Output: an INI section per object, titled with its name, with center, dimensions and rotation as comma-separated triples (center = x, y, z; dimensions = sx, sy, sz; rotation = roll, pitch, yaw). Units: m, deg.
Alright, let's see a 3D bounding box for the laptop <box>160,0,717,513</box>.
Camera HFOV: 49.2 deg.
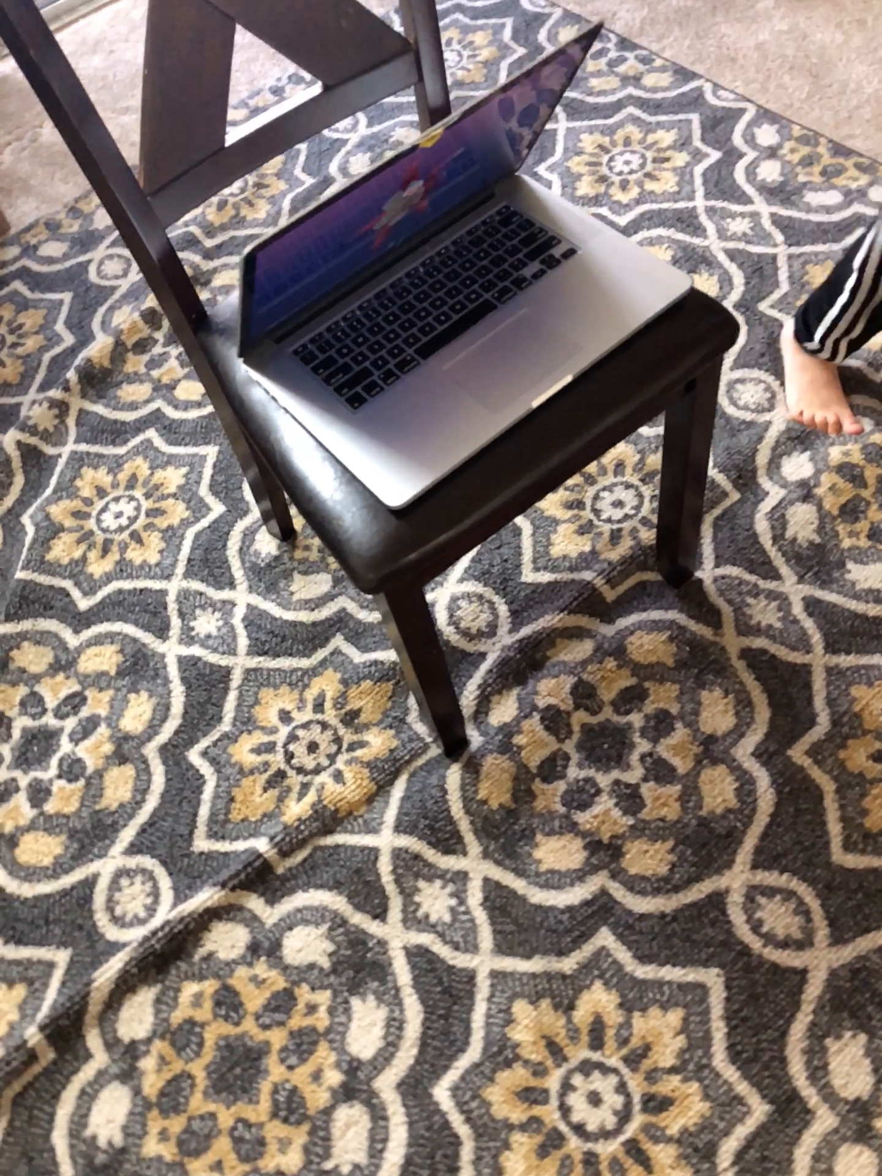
[laptop]
center = 0.007, -0.292, 0.801
dimensions = 0.351, 0.200, 0.237
rotation = -38, 60, -14
